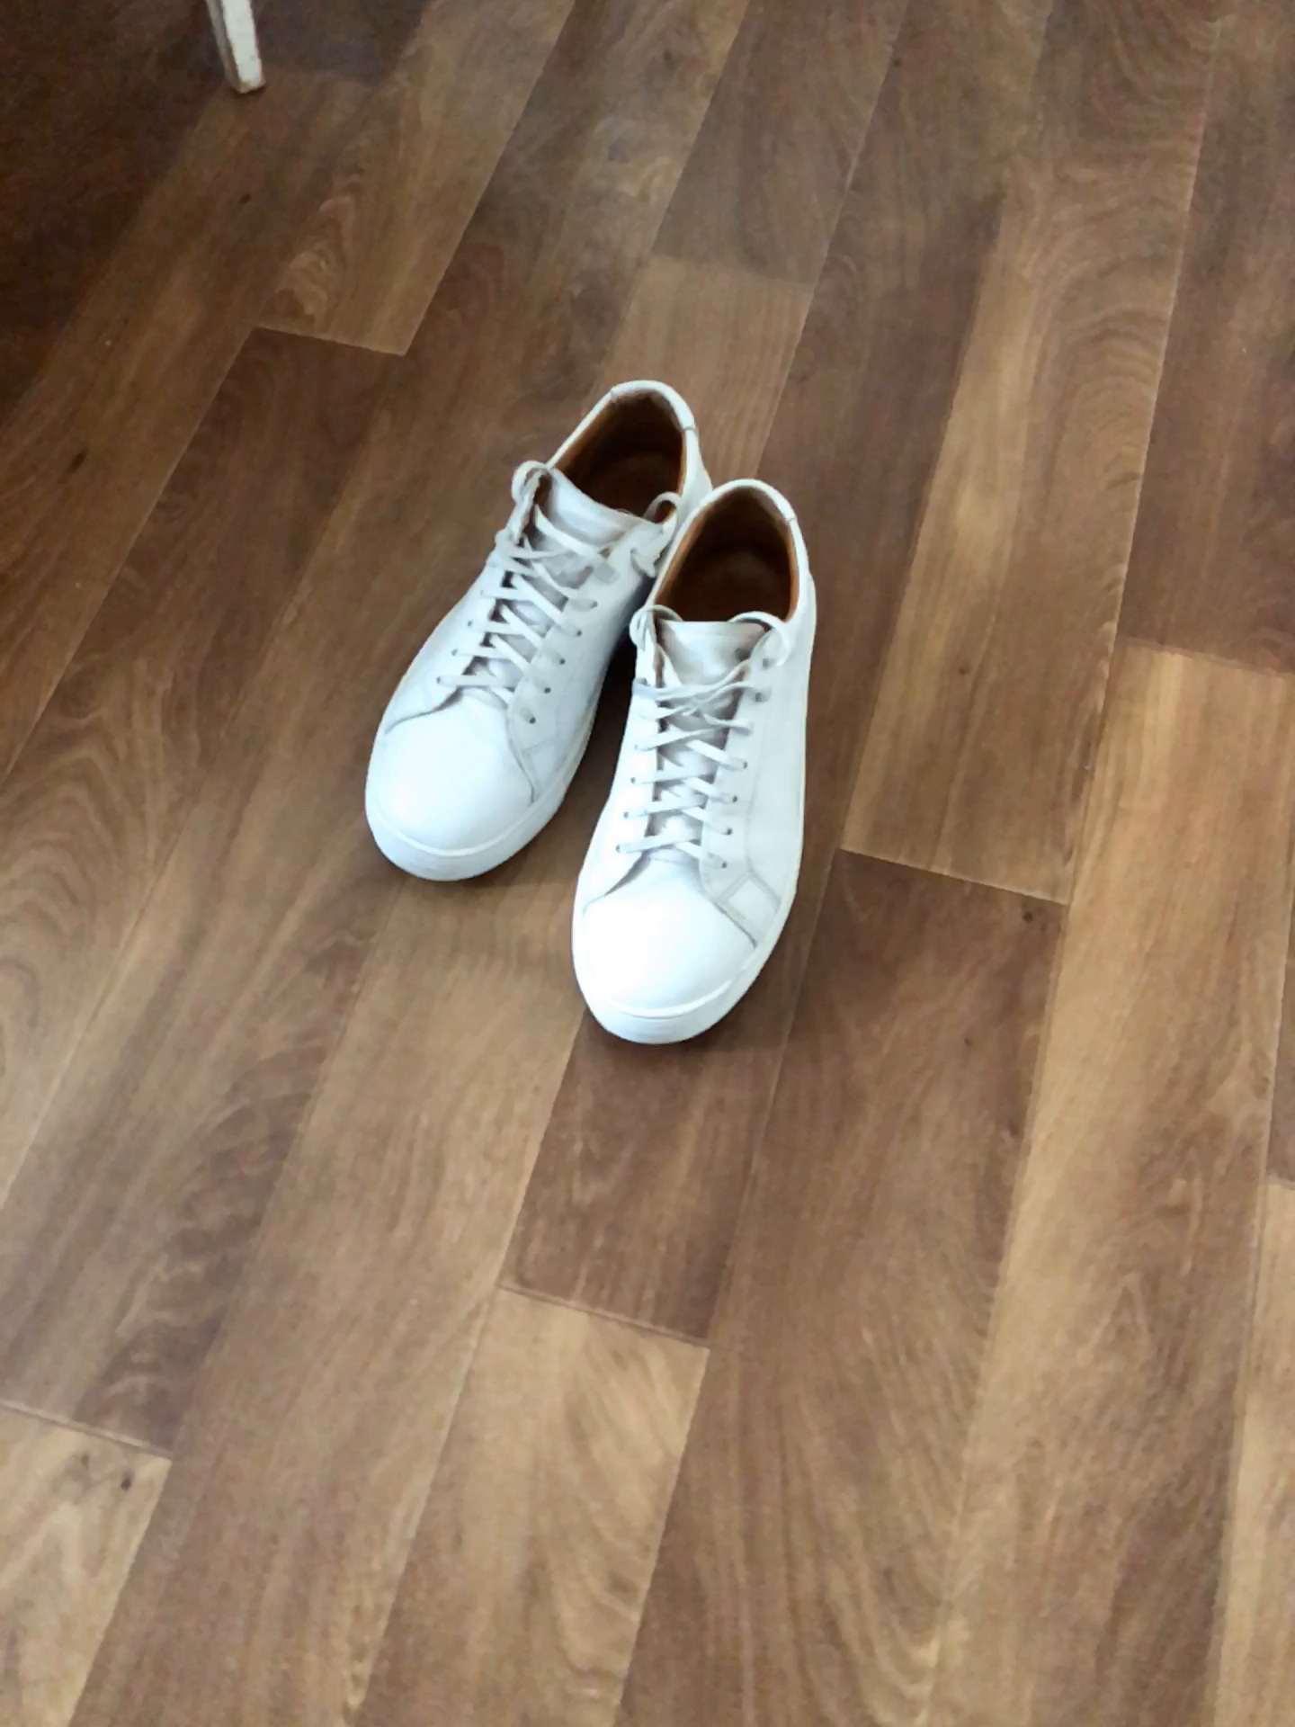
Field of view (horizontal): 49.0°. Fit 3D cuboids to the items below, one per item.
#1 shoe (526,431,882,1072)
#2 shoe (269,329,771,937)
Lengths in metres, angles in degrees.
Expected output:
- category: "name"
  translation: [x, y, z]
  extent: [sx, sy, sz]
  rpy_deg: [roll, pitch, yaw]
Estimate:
- category: "shoe"
  translation: [0.032, -0.058, 0.670]
  extent: [0.110, 0.090, 0.281]
  rpy_deg: [10, 65, 5]
- category: "shoe"
  translation: [-0.052, -0.119, 0.705]
  extent: [0.110, 0.090, 0.281]
  rpy_deg: [25, 67, 12]
